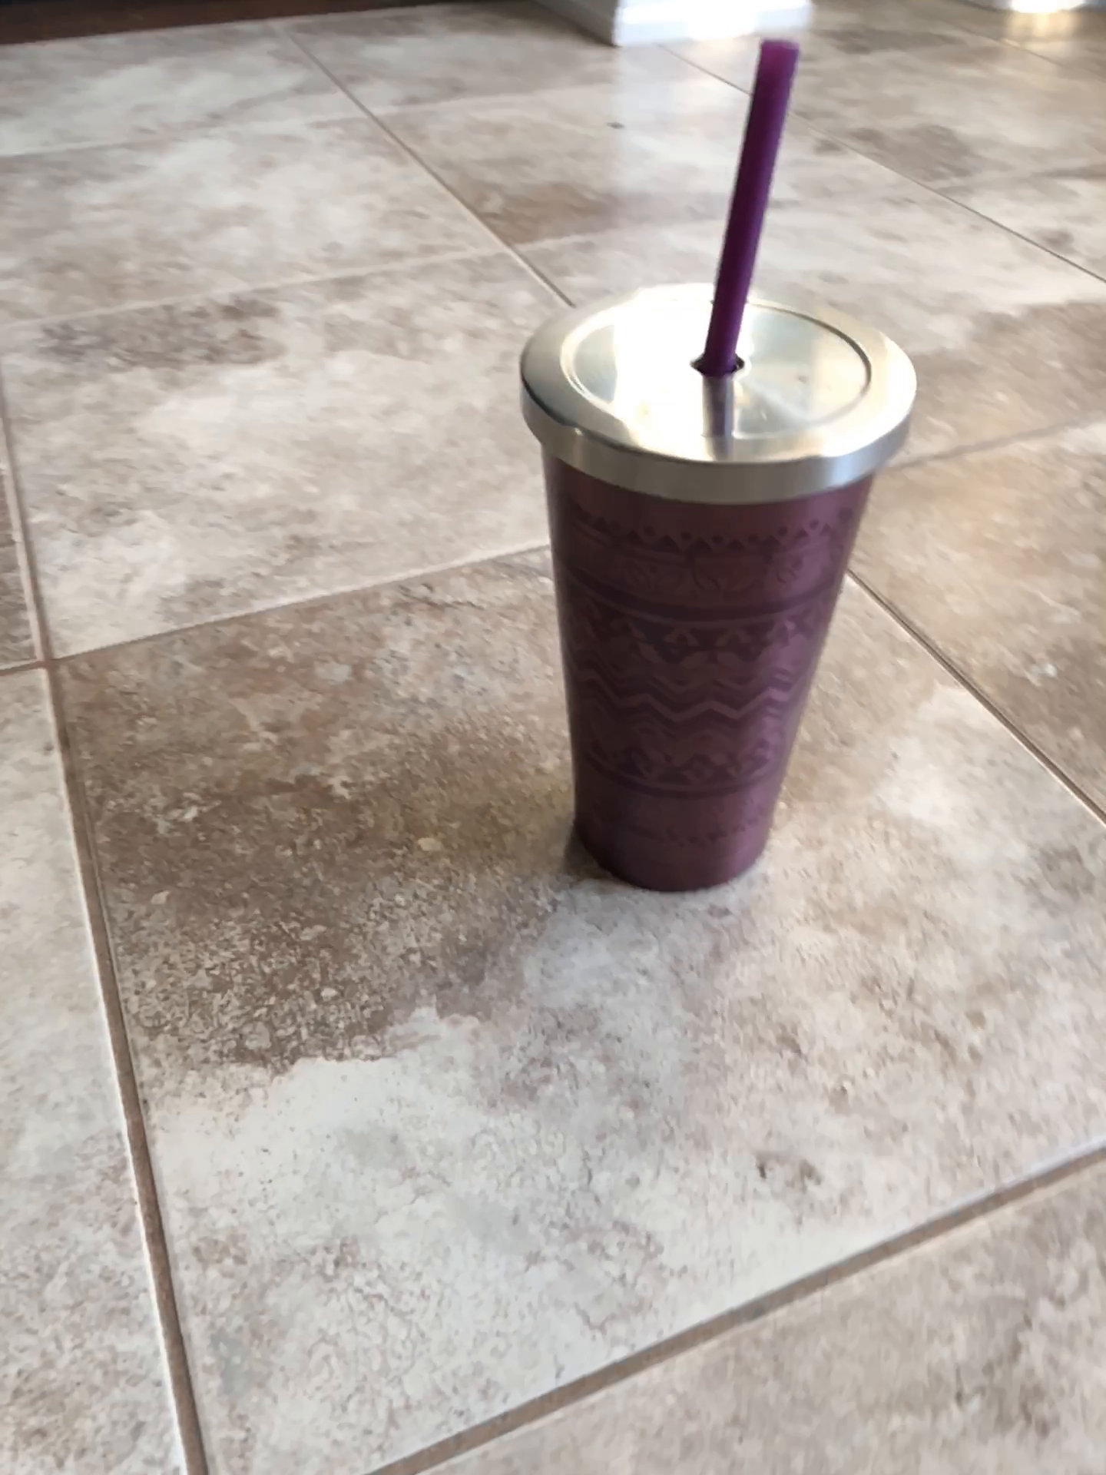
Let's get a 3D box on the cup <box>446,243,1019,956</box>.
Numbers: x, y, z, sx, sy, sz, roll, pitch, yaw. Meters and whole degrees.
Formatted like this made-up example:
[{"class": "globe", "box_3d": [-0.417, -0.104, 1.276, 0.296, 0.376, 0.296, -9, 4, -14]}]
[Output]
[{"class": "cup", "box_3d": [0.044, -0.042, 0.378, 0.111, 0.165, 0.103, 0, 42, 0]}]
